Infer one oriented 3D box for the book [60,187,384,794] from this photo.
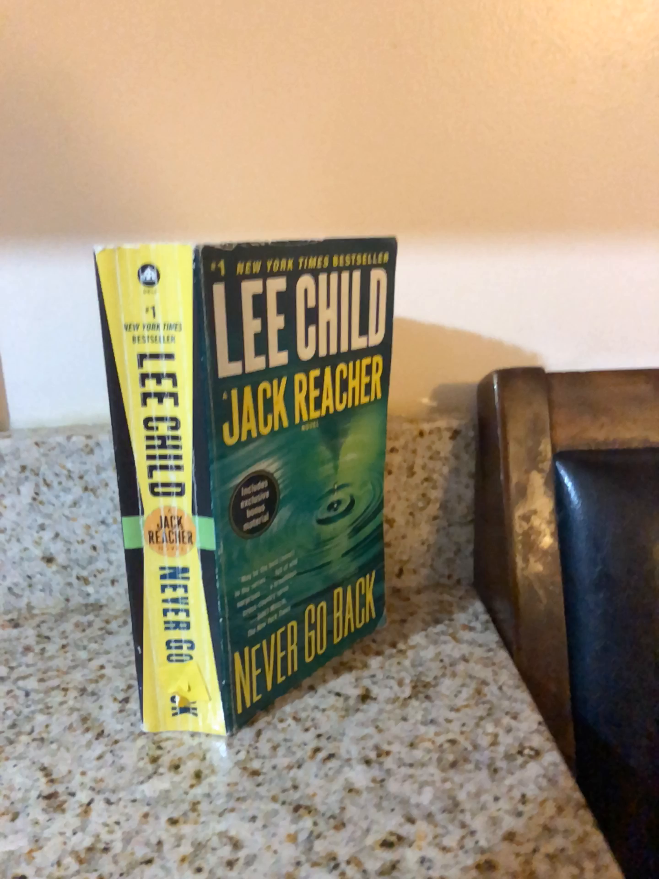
[{"bbox_3d":[-0.032,0.007,0.332,0.050,0.219,0.160,8,17,26],"label":"book"}]
